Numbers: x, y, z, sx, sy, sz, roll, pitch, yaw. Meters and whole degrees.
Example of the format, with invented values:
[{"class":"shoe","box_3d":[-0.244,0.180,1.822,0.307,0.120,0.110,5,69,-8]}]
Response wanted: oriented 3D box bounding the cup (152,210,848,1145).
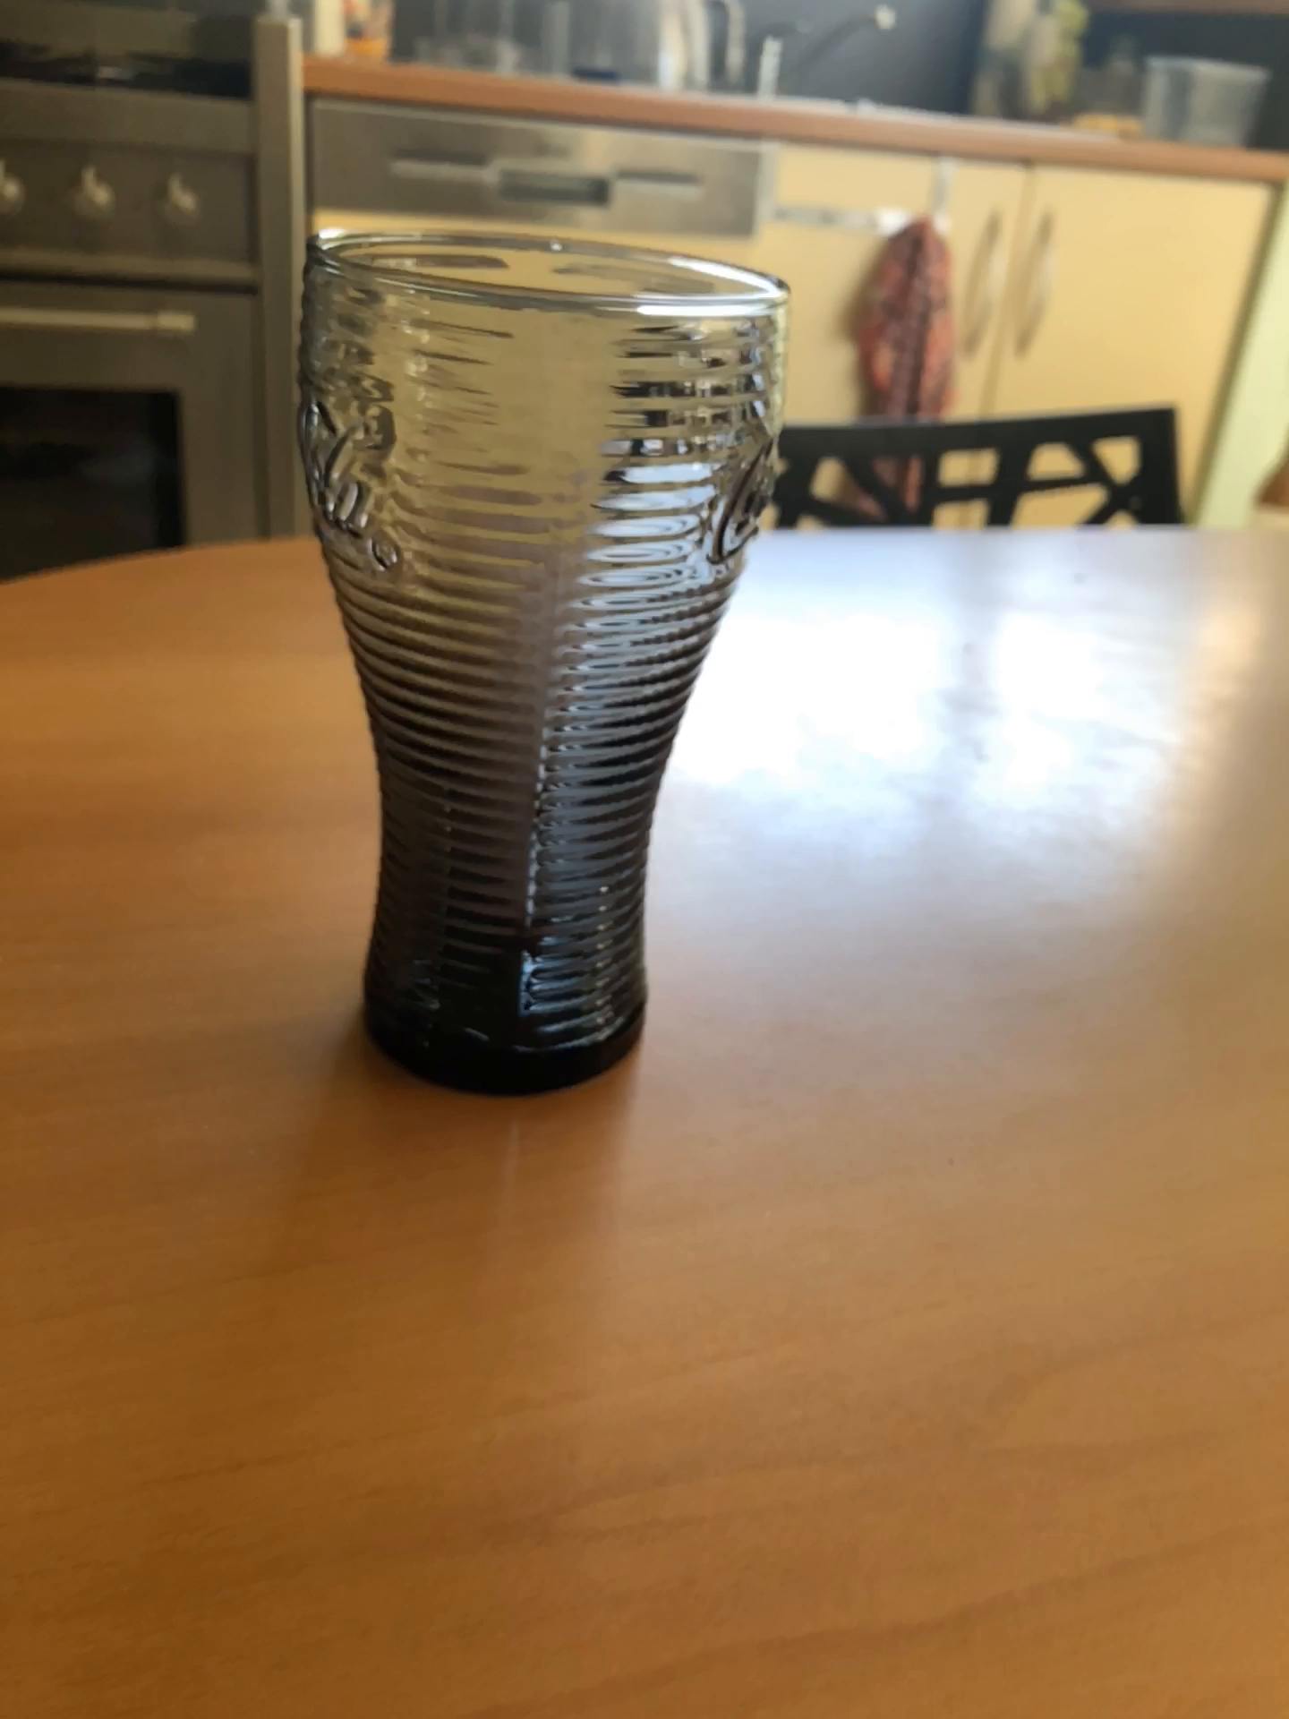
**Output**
[{"class":"cup","box_3d":[-0.022,-0.036,0.251,0.080,0.129,0.081,5,28,-2]}]
